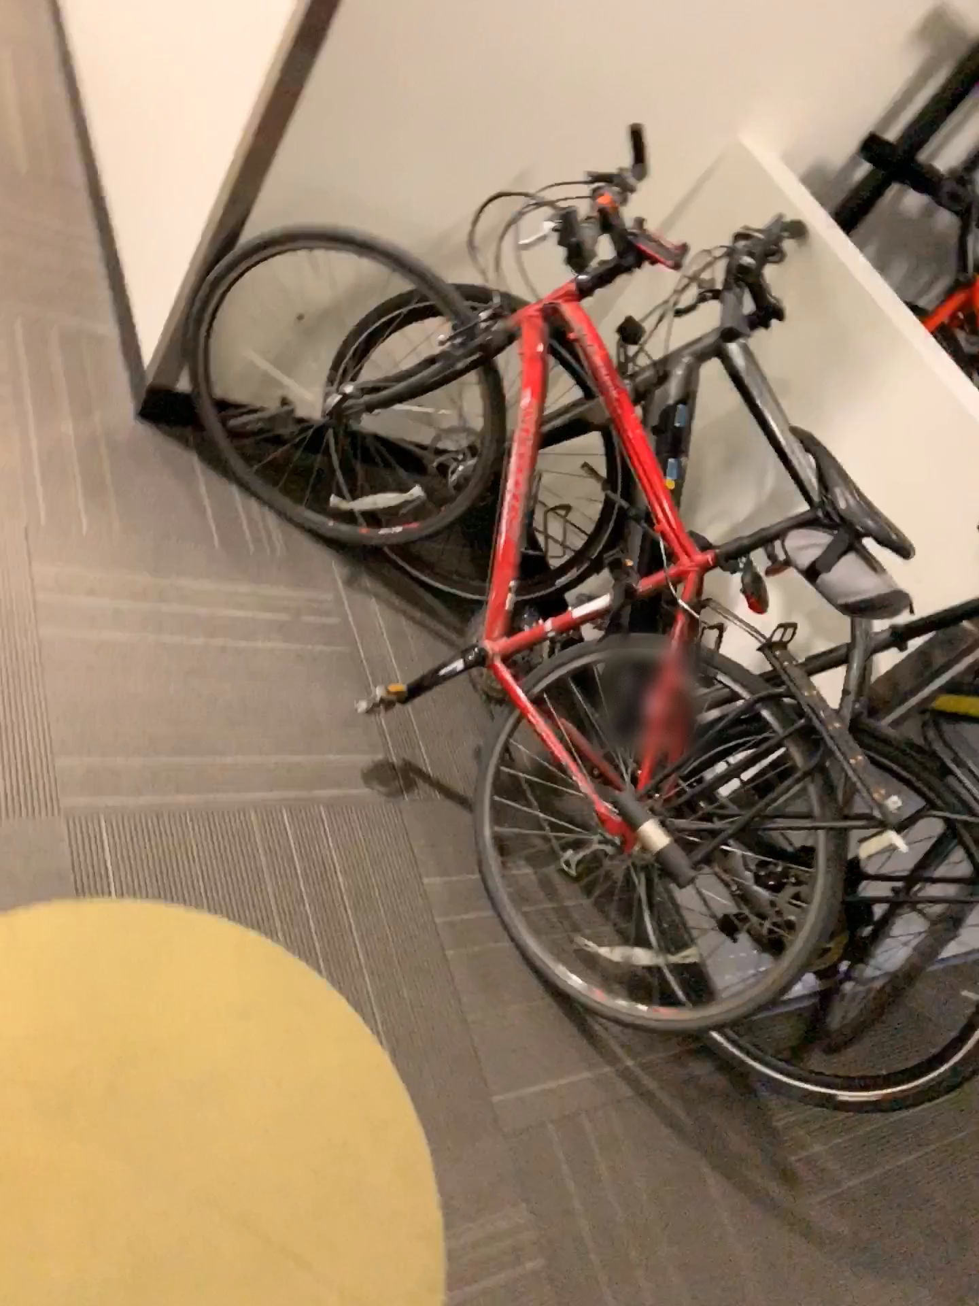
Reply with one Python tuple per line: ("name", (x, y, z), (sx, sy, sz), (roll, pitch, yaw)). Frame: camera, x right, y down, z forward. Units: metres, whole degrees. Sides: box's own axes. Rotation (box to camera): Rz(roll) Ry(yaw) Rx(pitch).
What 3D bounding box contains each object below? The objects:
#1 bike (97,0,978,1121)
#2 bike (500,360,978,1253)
("bike", (0.143, -0.210, 1.723), (0.603, 0.929, 1.615), (-22, 73, -49))
("bike", (0.701, 0.306, 1.666), (0.692, 1.151, 0.727), (-20, 73, -48))
